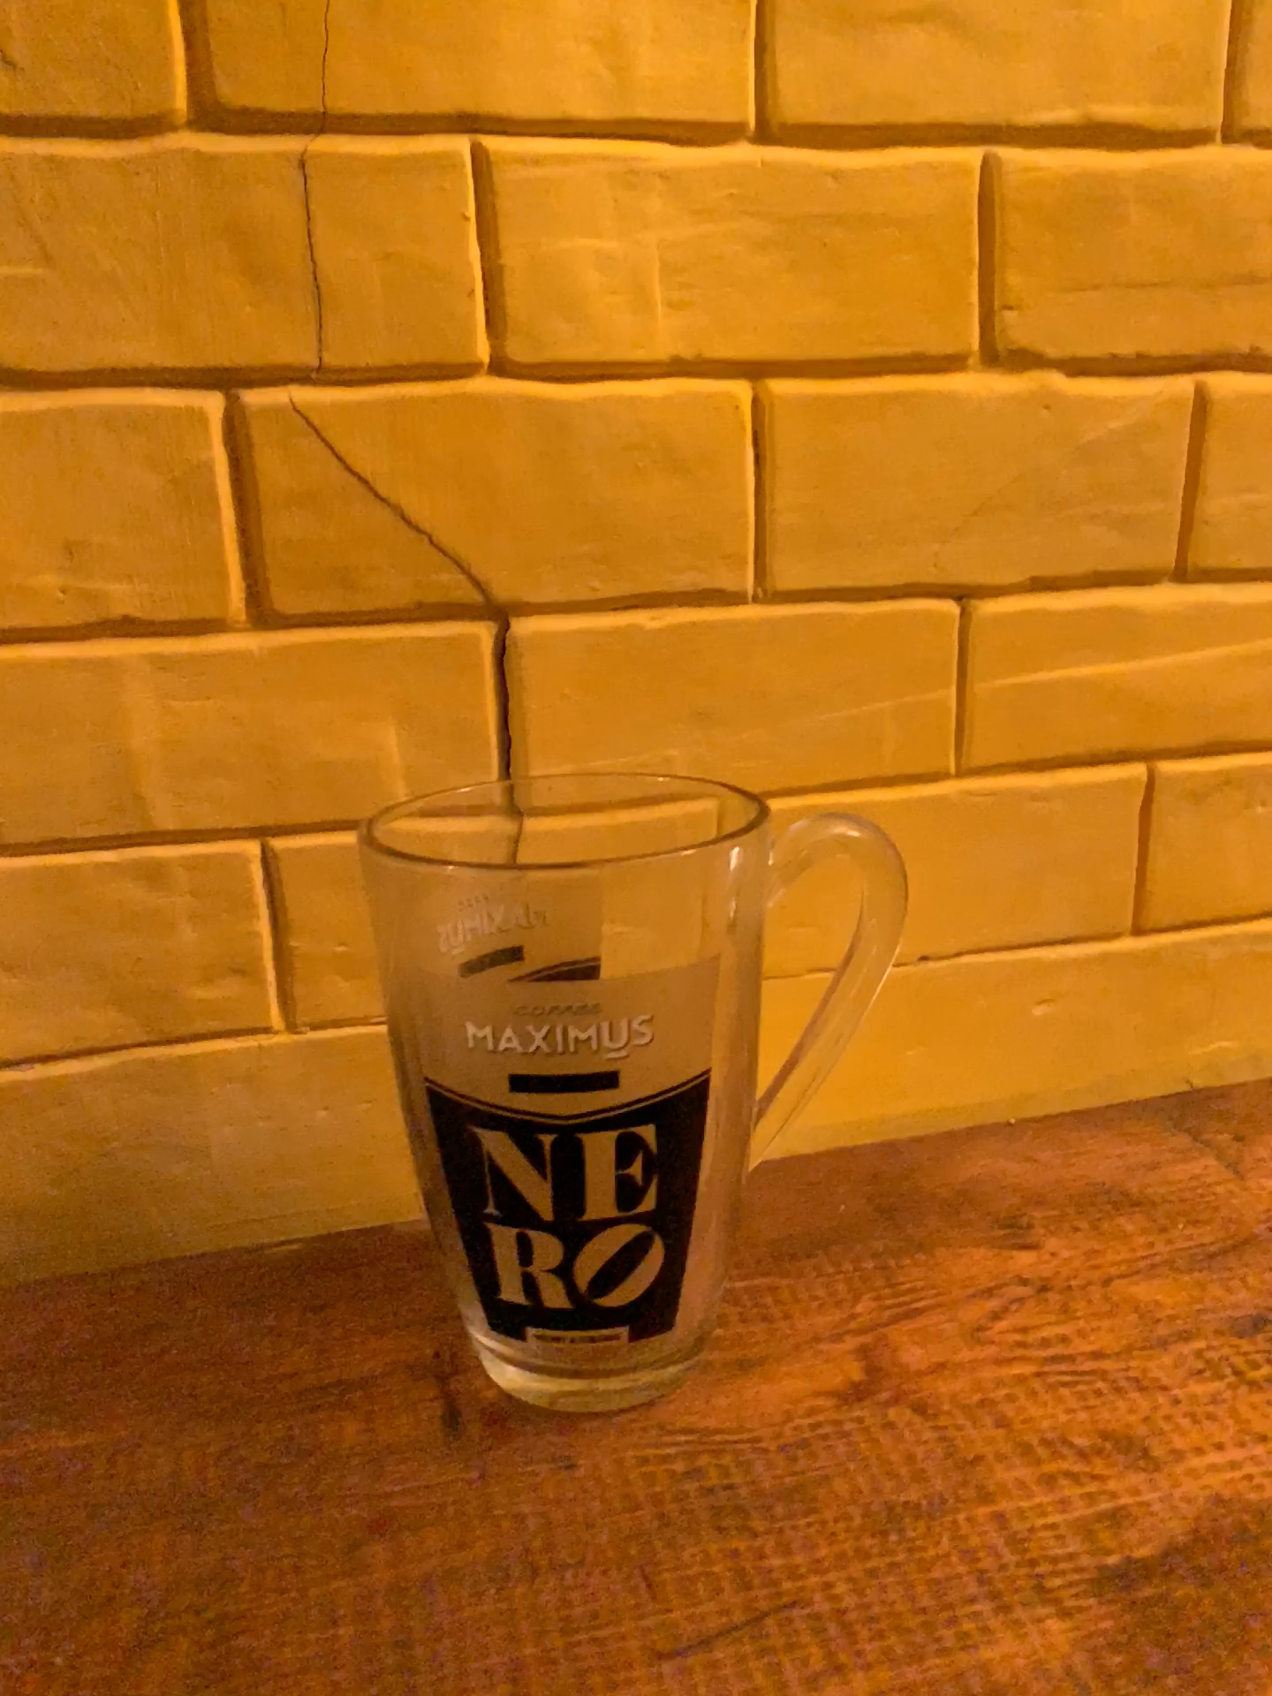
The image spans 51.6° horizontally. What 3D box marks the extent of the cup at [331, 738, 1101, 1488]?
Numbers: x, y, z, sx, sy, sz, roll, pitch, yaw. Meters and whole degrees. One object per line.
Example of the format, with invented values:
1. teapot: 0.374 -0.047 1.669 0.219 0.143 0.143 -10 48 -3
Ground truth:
1. cup: 0.010 0.041 0.272 0.124 0.099 0.094 -7 18 -19
